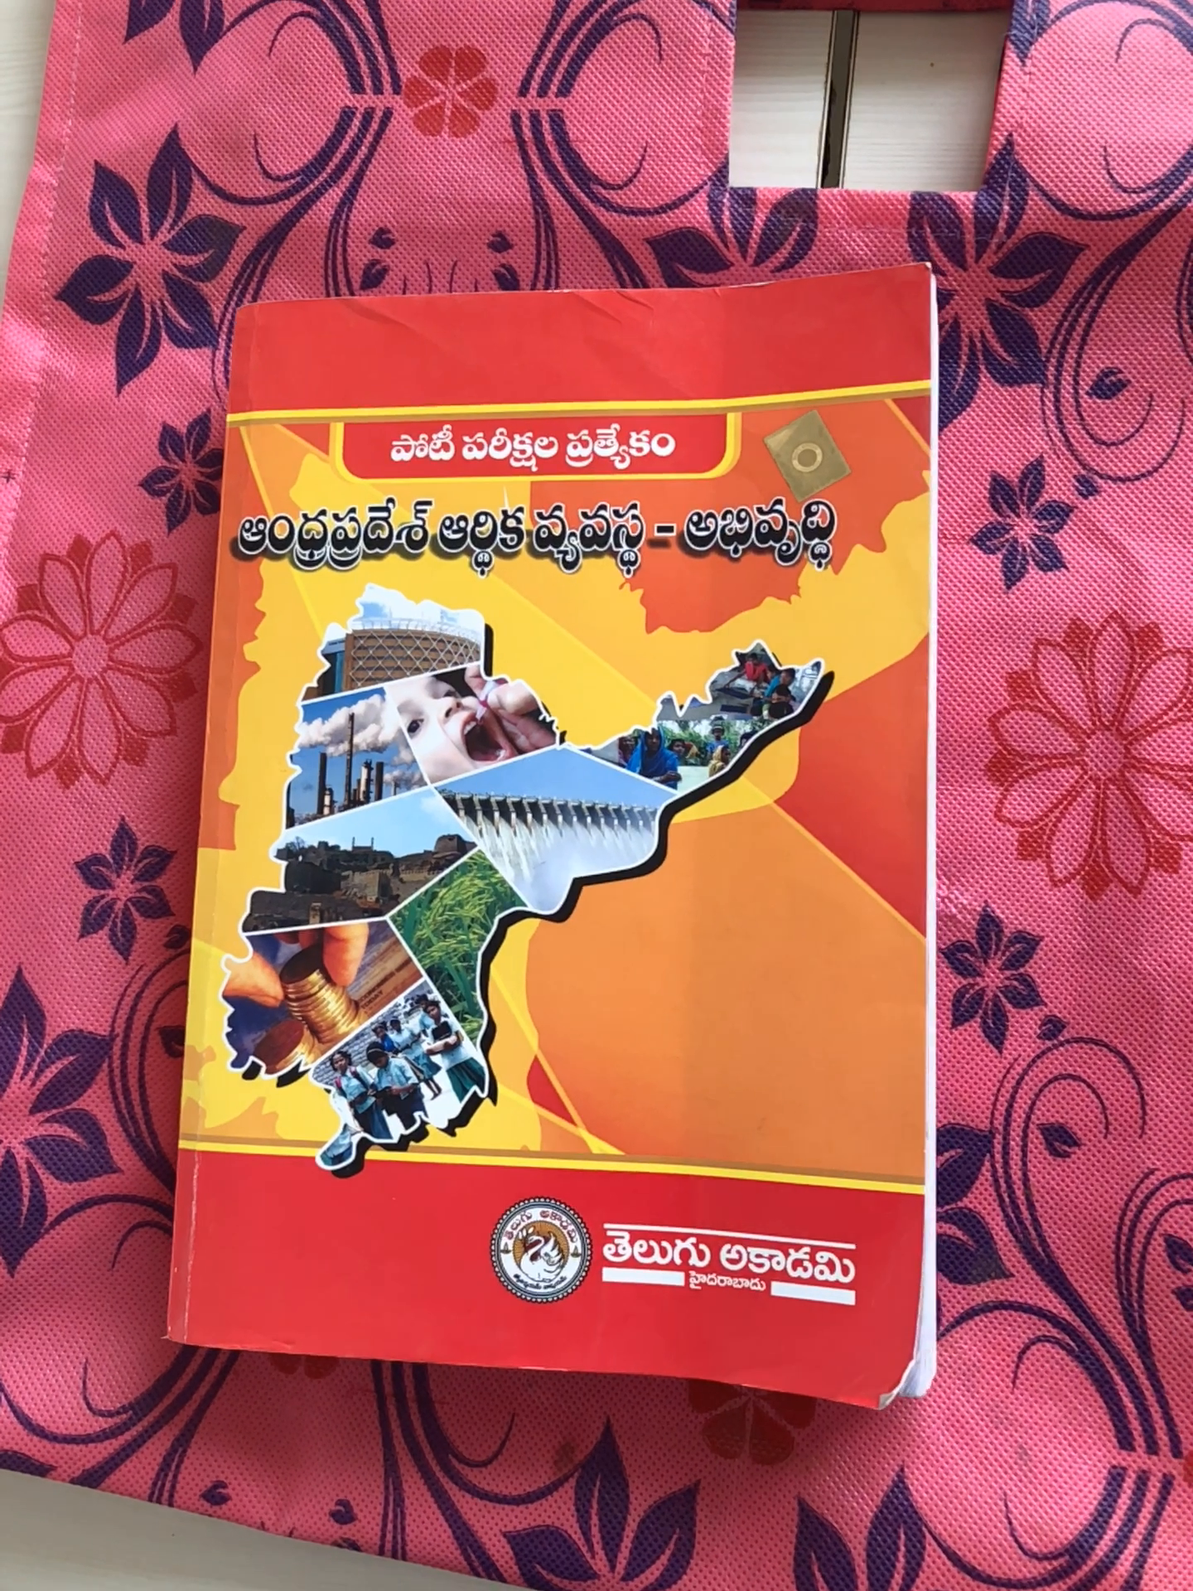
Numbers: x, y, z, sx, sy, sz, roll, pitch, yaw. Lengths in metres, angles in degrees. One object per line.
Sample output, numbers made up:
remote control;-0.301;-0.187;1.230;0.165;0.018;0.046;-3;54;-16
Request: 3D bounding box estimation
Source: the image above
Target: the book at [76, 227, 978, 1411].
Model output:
book;-0.014;0.001;0.332;0.200;0.060;0.260;2;86;8
